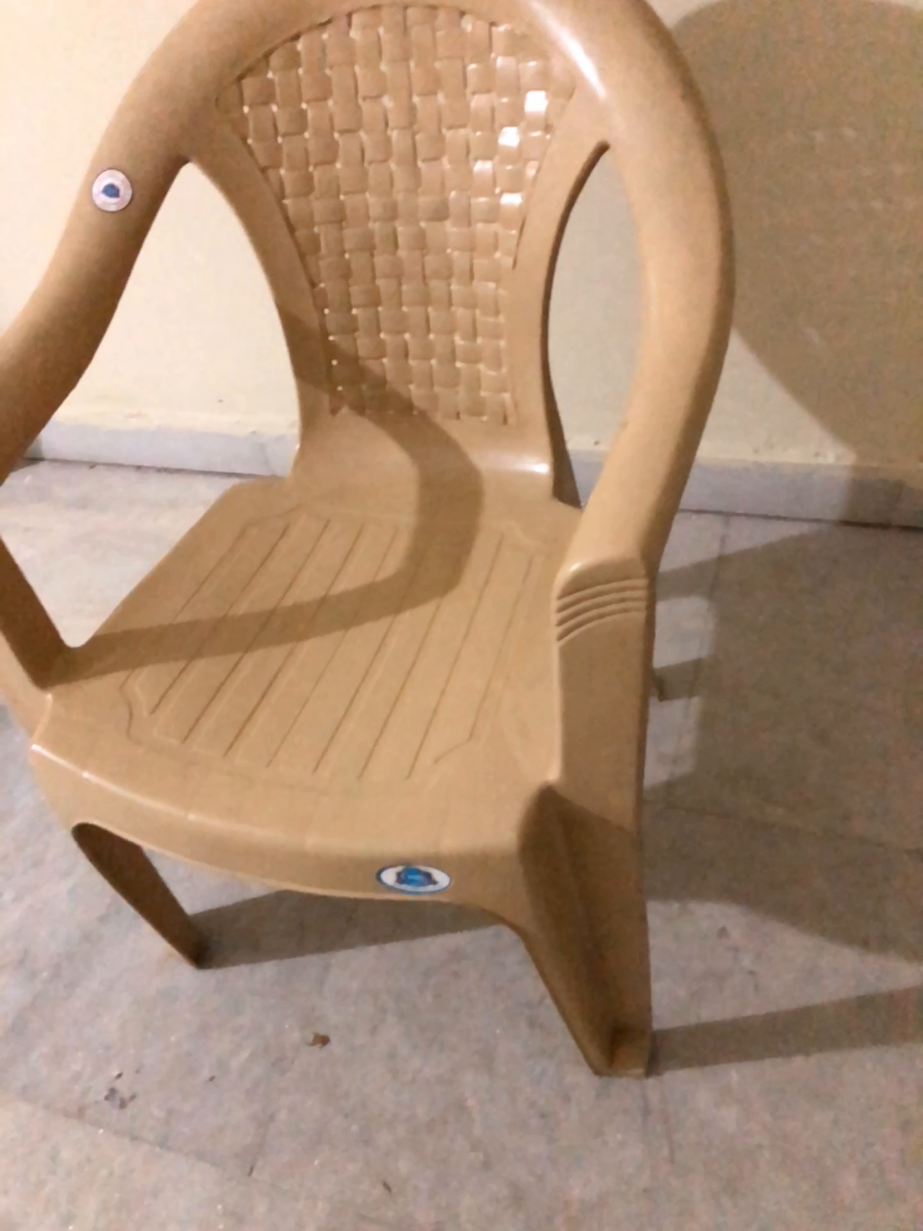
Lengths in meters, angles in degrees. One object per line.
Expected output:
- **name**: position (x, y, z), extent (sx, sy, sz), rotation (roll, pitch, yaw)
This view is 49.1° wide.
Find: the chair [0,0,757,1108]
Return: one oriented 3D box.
- **chair**: position (-0.095, -0.076, 0.855), extent (0.590, 0.746, 0.604), rotation (5, 52, 18)
